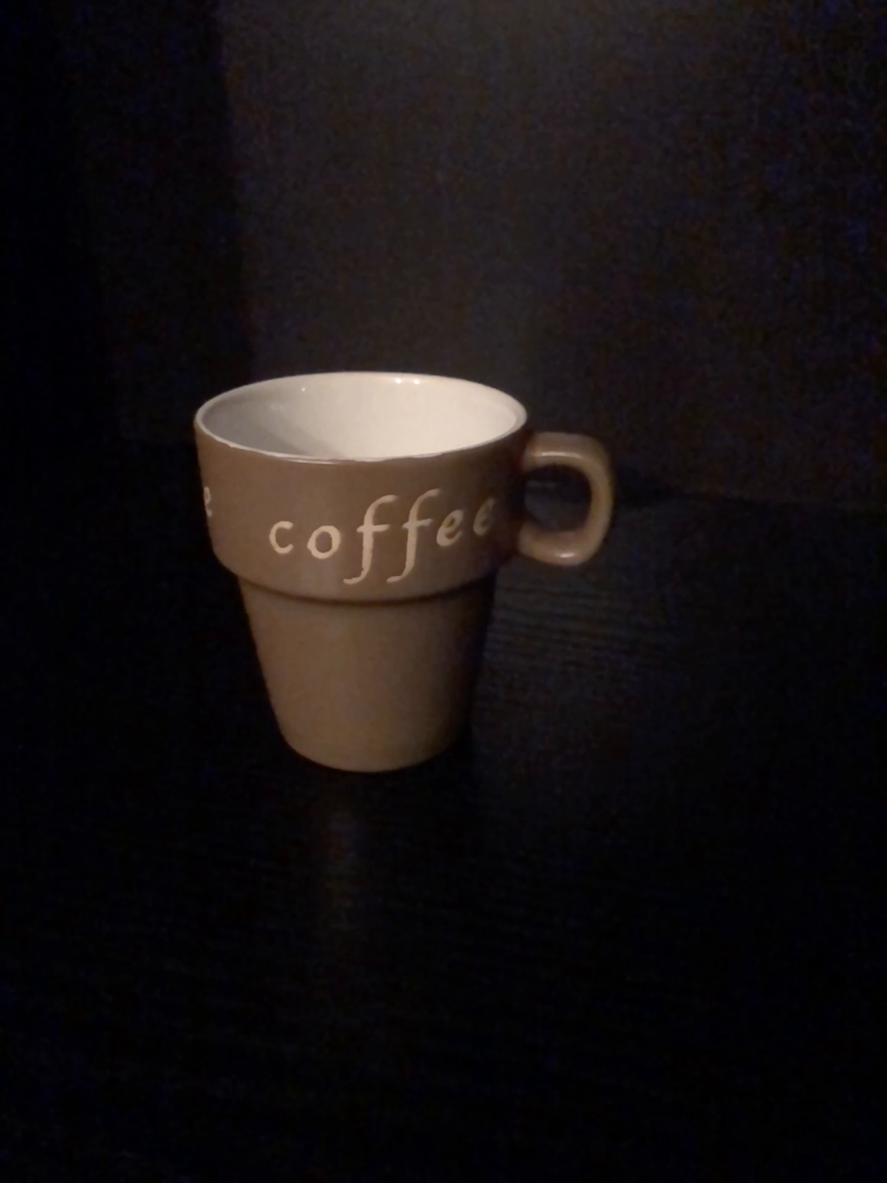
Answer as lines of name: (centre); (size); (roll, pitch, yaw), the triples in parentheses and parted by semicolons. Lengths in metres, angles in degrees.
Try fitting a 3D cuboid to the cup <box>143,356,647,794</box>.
cup: (-0.006, -0.010, 0.260); (0.107, 0.082, 0.080); (4, 26, 8)
